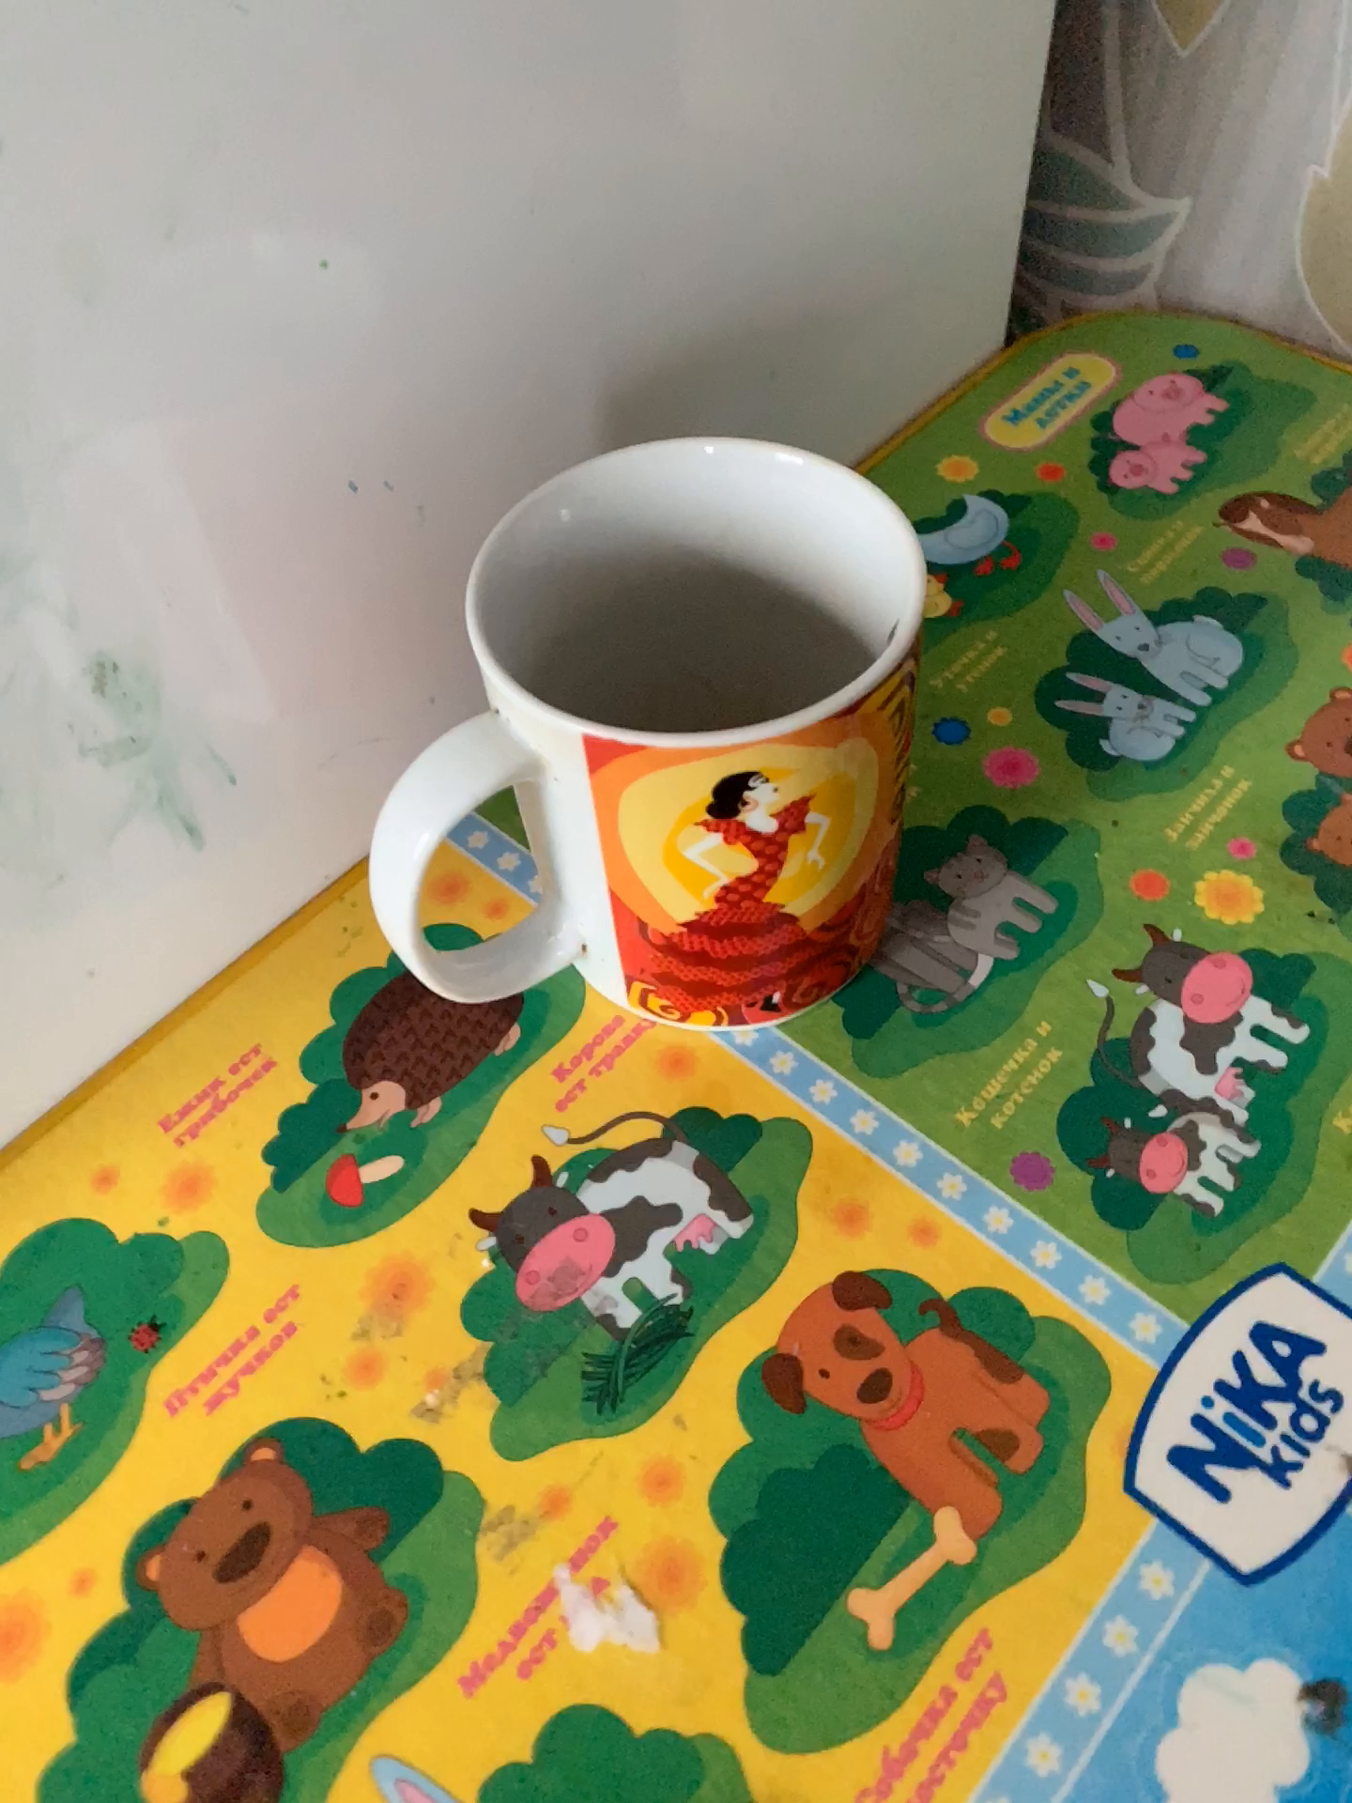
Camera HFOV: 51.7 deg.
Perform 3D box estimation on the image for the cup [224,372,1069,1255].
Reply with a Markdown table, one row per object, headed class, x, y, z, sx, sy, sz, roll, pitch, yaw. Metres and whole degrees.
| class | x | y | z | sx | sy | sz | roll | pitch | yaw |
| --- | --- | --- | --- | --- | --- | --- | --- | --- | --- |
| cup | -0.001 | -0.018 | 0.275 | 0.085 | 0.097 | 0.119 | 37 | 64 | 27 |
